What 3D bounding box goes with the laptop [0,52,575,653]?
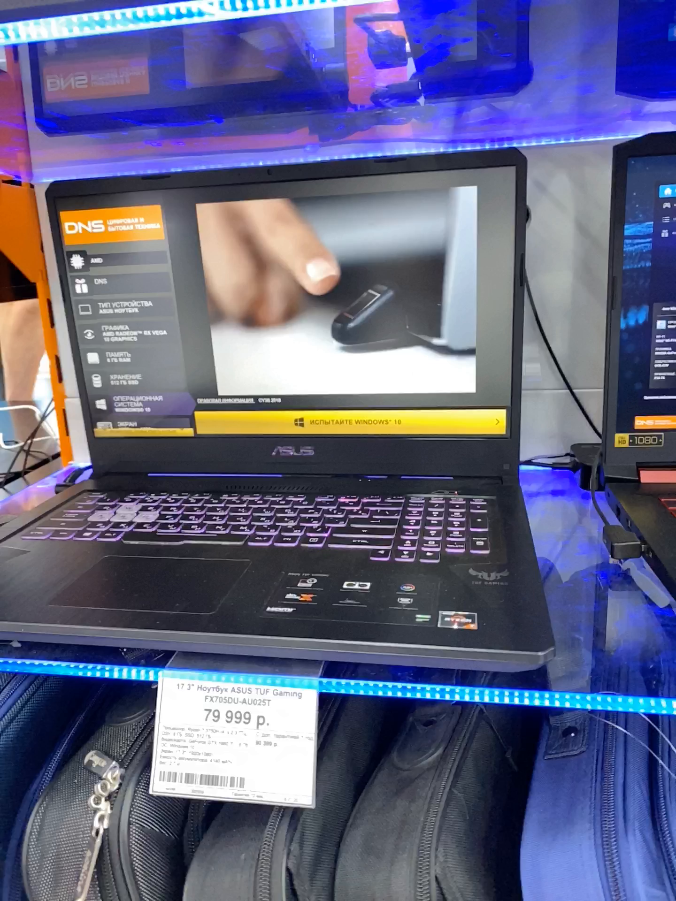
[{"bbox_3d":[-0.073,-0.065,0.472,0.397,0.265,0.269,0,15,10],"label":"laptop"}]
